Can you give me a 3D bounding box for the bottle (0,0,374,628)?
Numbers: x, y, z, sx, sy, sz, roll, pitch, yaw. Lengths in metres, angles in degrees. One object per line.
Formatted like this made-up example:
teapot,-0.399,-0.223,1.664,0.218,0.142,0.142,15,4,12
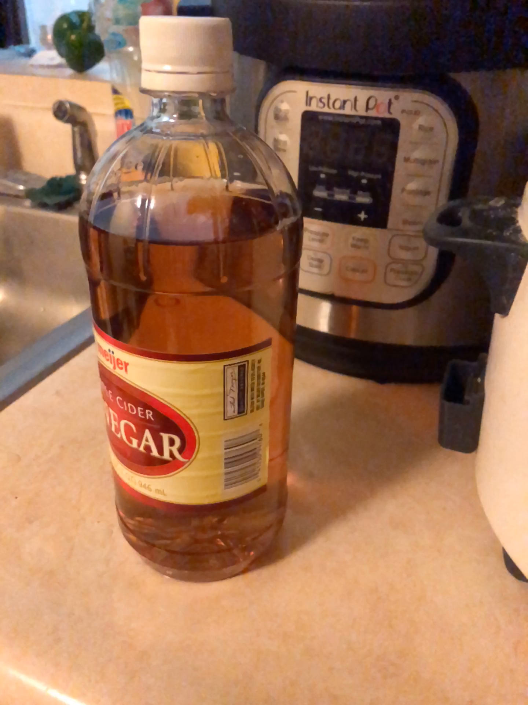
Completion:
bottle,-0.029,-0.015,0.242,0.080,0.229,0.090,-22,37,-36
